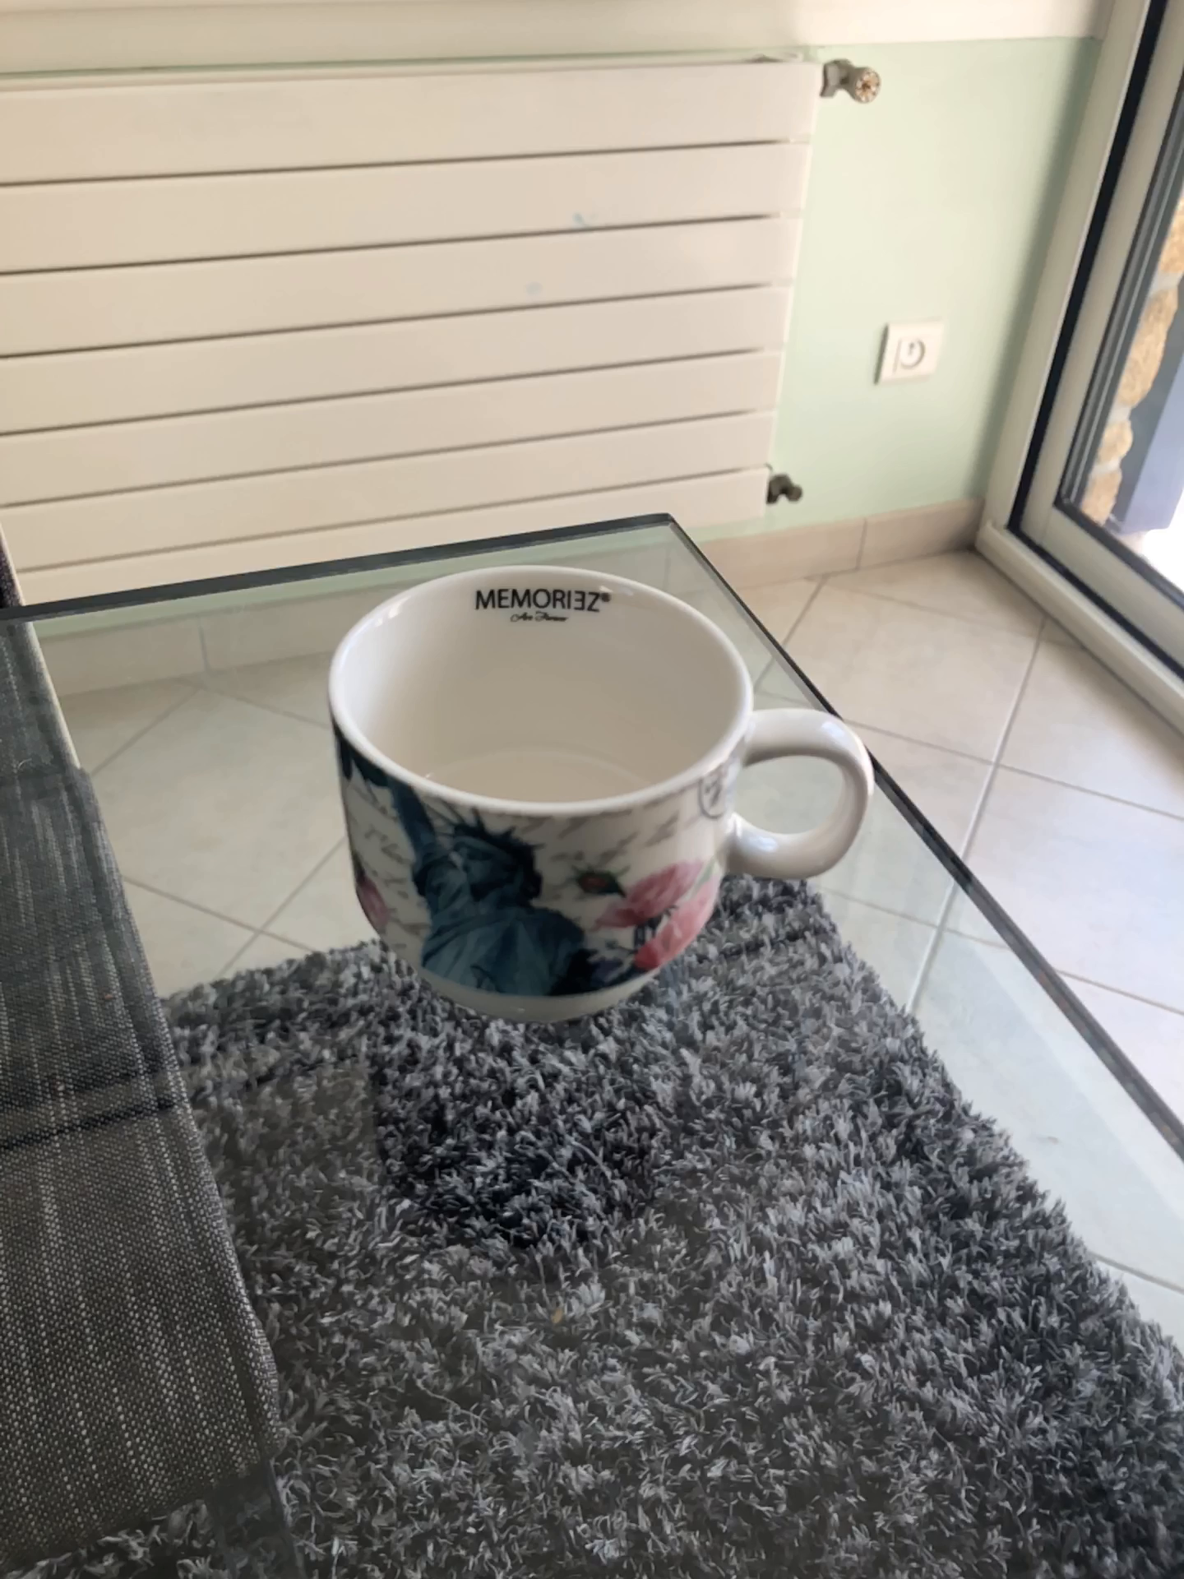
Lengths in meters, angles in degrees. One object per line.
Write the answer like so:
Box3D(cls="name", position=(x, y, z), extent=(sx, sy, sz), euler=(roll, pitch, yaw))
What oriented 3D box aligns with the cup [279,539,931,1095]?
Box3D(cls="cup", position=(0.005, 0.002, 0.221), extent=(0.090, 0.050, 0.070), euler=(7, 40, 4))
